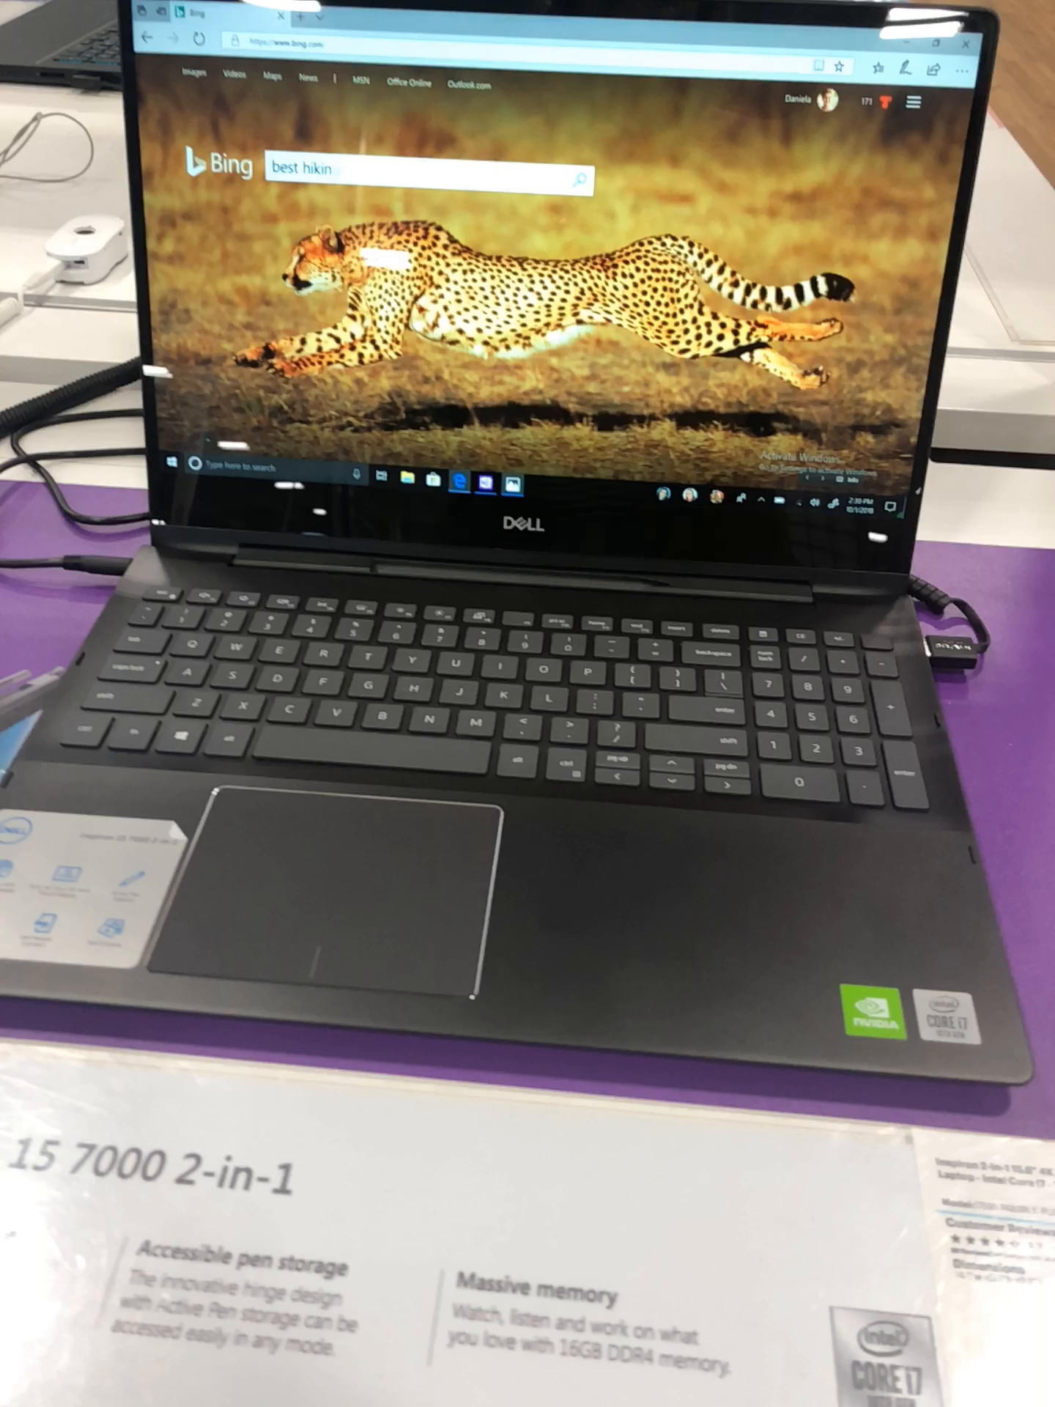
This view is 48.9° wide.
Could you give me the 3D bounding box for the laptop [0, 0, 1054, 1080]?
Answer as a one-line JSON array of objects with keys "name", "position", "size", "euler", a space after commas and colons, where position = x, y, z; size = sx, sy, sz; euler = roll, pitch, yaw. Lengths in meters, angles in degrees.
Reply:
[{"name": "laptop", "position": [-0.012, -0.090, 0.393], "size": [0.340, 0.207, 0.325], "euler": [4, 41, 3]}]
